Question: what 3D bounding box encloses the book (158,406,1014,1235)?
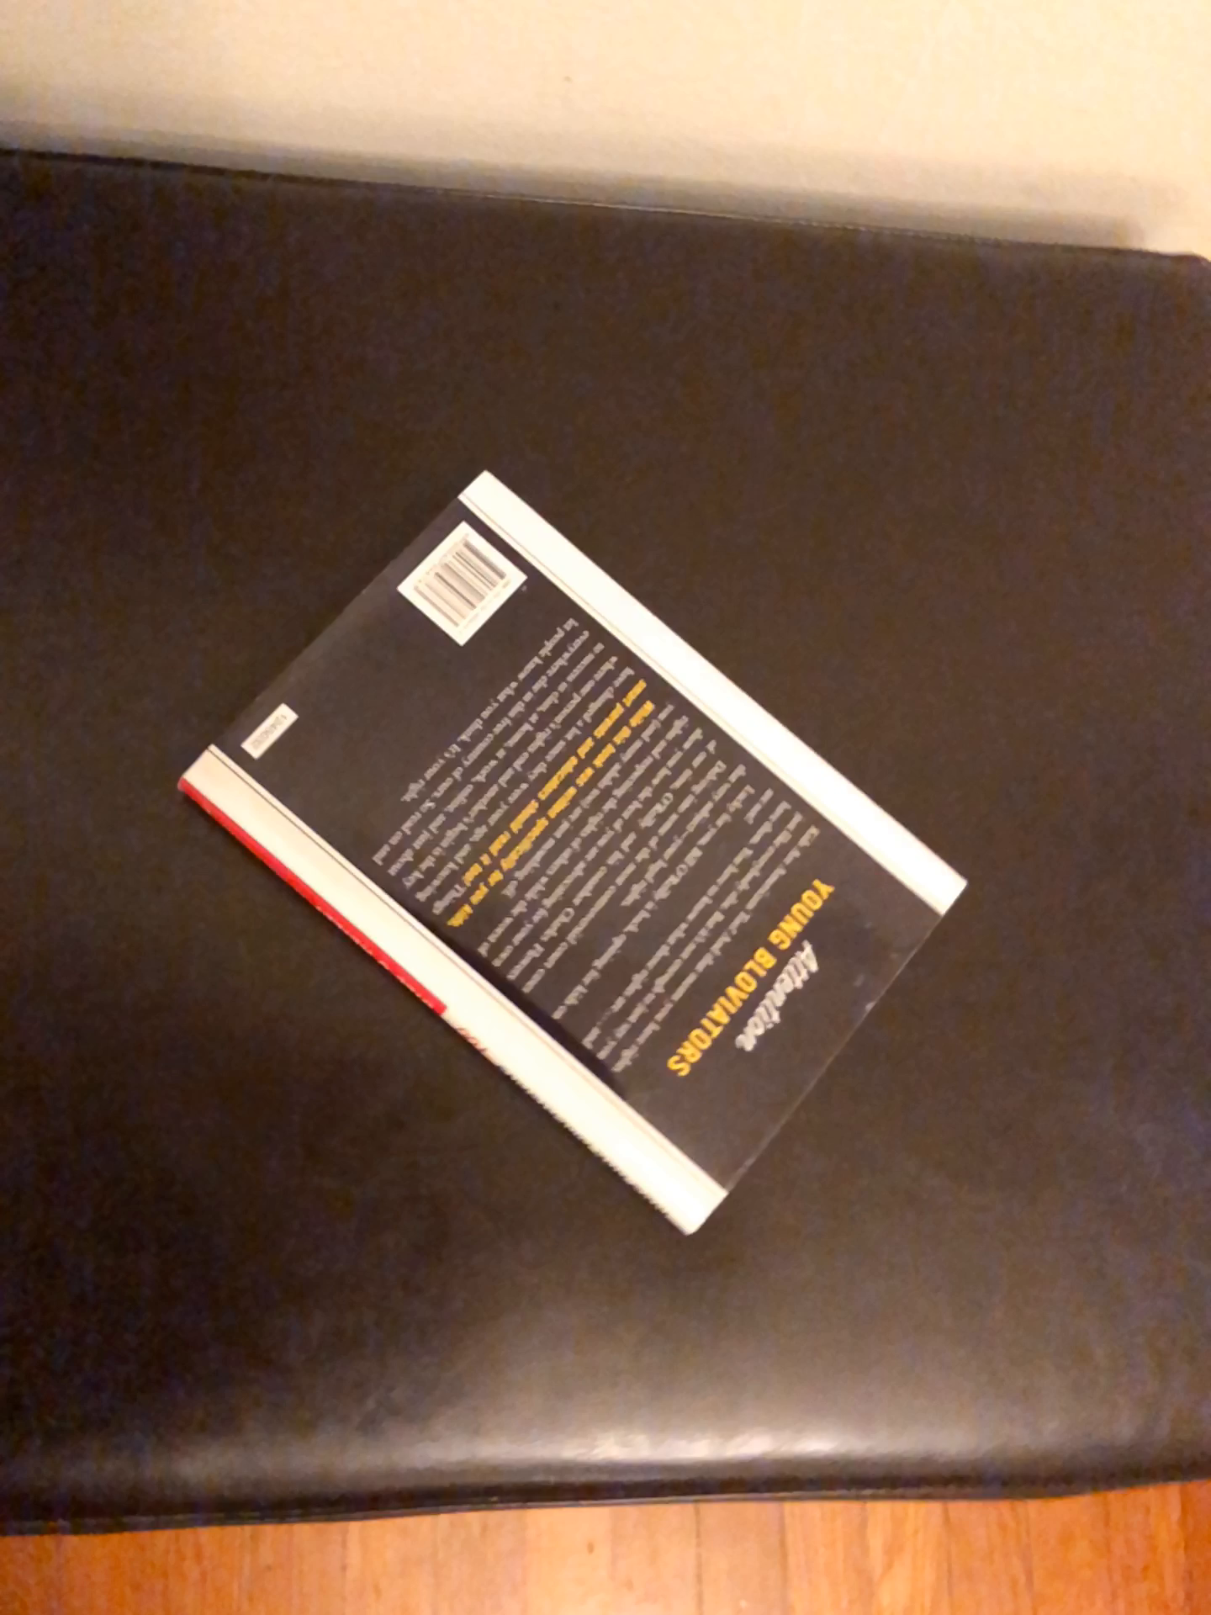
[{"bbox_3d":[-0.002,-0.001,0.441,0.230,0.020,0.160,41,76,1],"label":"book"}]
